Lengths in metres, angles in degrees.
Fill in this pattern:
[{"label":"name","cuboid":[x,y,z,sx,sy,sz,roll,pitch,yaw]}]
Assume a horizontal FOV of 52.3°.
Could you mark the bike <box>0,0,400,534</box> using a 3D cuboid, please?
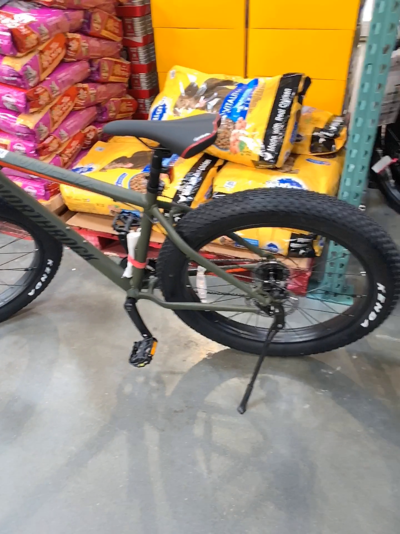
[{"label":"bike","cuboid":[-0.176,0.022,0.889,1.712,1.203,0.595,-2,37,-11]}]
